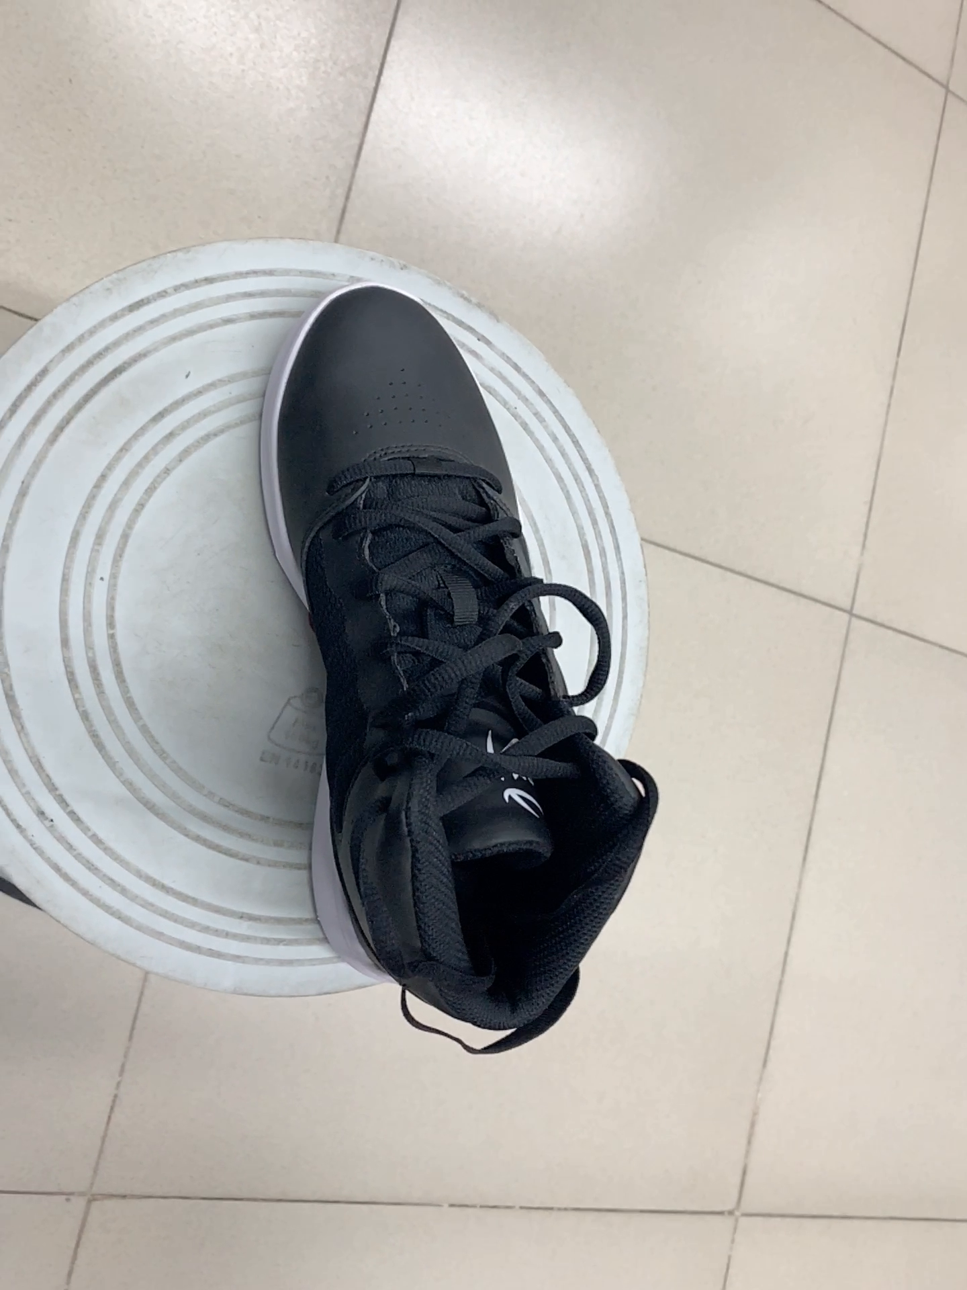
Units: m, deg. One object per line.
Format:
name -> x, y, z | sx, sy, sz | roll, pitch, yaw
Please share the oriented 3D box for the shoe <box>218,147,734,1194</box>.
shoe -> -0.008, 0.004, 0.290 | 0.090, 0.100, 0.240 | -8, 92, -24
